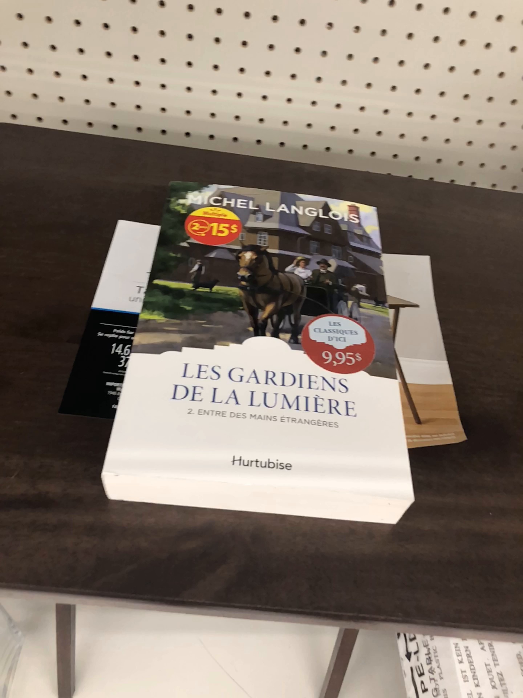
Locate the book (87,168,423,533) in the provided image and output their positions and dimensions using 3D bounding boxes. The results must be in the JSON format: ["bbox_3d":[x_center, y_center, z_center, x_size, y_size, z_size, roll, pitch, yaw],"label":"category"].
[{"bbox_3d":[0.001,-0.015,0.358,0.158,0.039,0.235,6,52,-4],"label":"book"}]
